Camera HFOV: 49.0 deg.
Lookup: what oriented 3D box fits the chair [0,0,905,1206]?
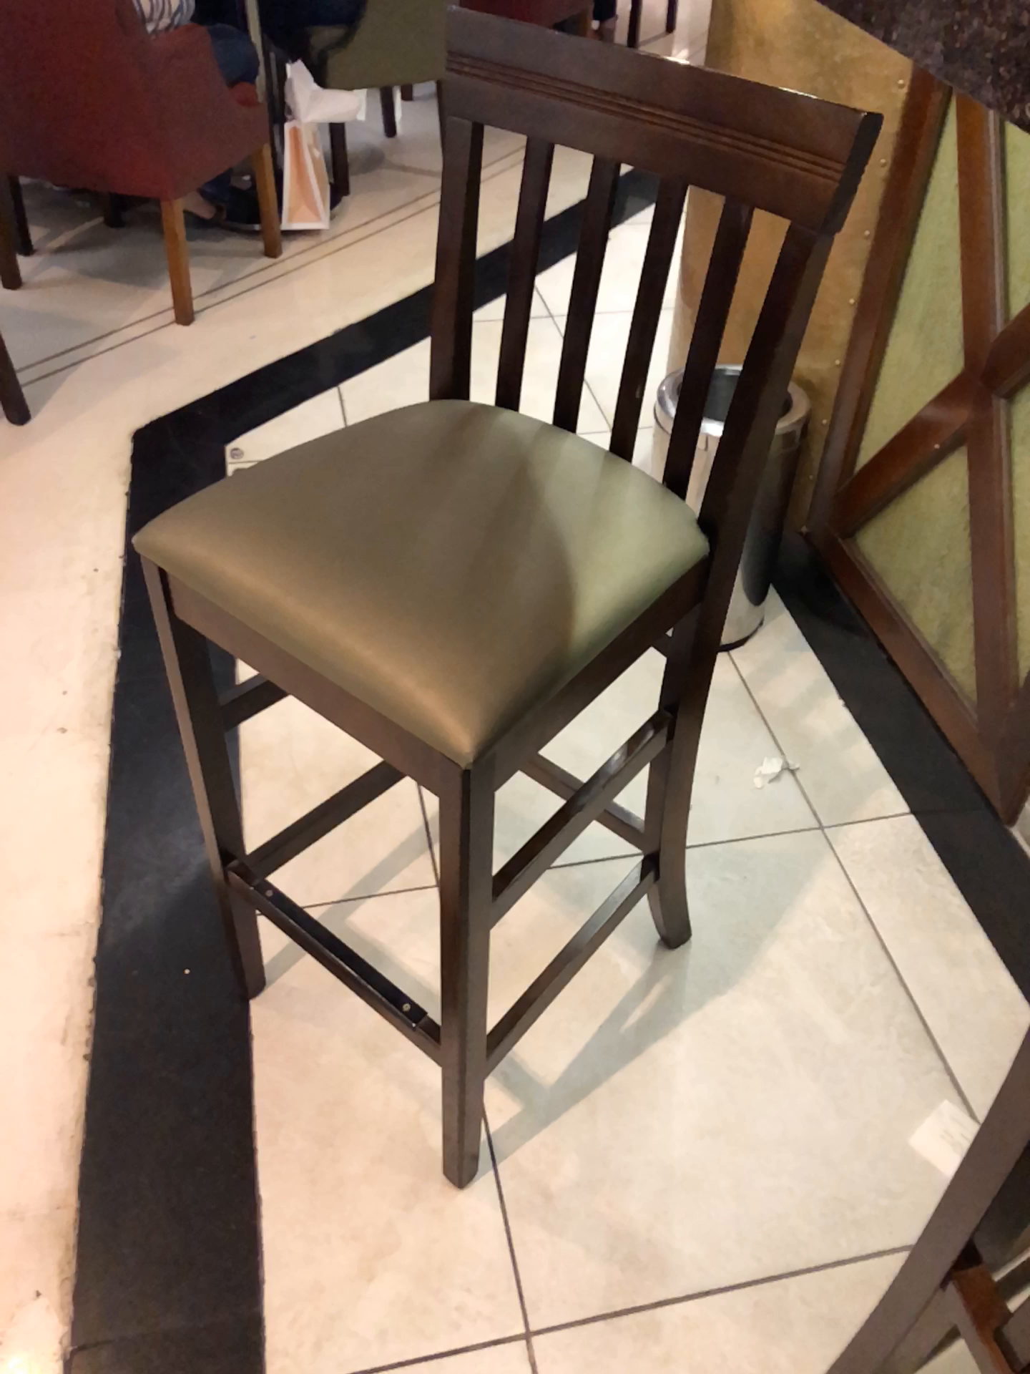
[{"bbox_3d":[-0.057,-0.033,1.157,0.461,1.032,0.492,31,50,28],"label":"chair"}]
